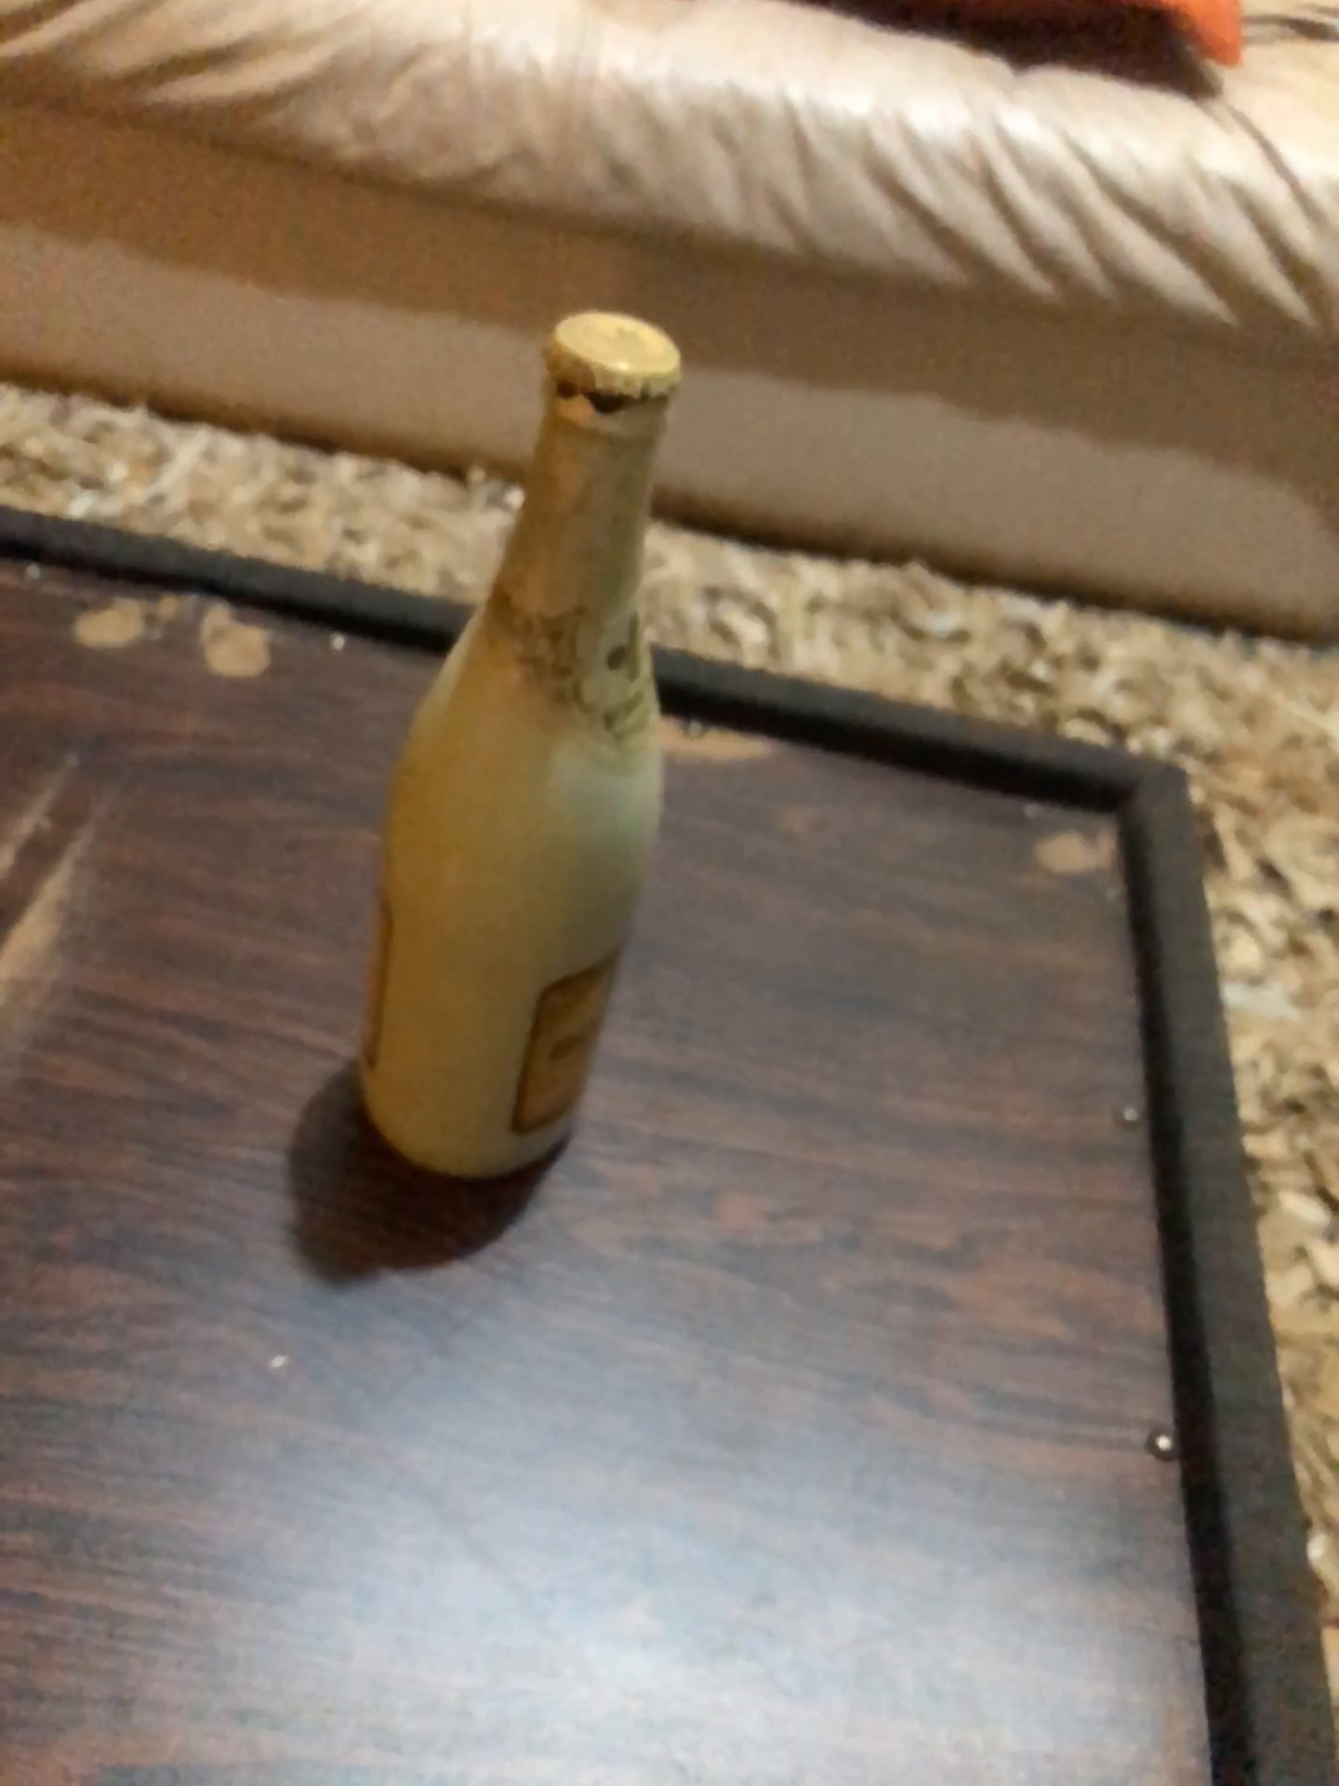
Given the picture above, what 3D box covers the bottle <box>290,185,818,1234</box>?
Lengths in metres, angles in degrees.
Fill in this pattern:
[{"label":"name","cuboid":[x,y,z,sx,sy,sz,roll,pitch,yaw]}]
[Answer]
[{"label":"bottle","cuboid":[-0.035,-0.025,0.374,0.080,0.248,0.081,6,46,-6]}]
